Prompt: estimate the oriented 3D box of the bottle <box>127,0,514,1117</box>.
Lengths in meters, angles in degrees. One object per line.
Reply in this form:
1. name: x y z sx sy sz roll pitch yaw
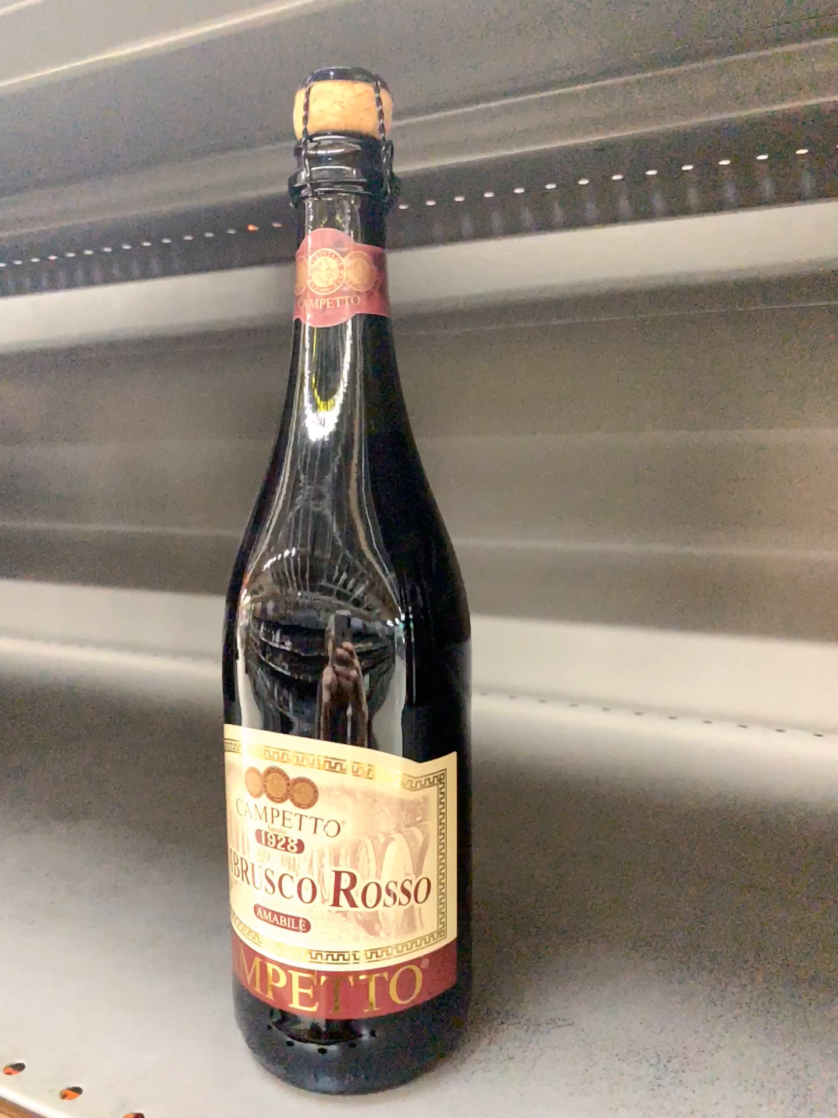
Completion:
1. bottle: -0.027 0.004 0.281 0.090 0.300 0.080 3 6 24
